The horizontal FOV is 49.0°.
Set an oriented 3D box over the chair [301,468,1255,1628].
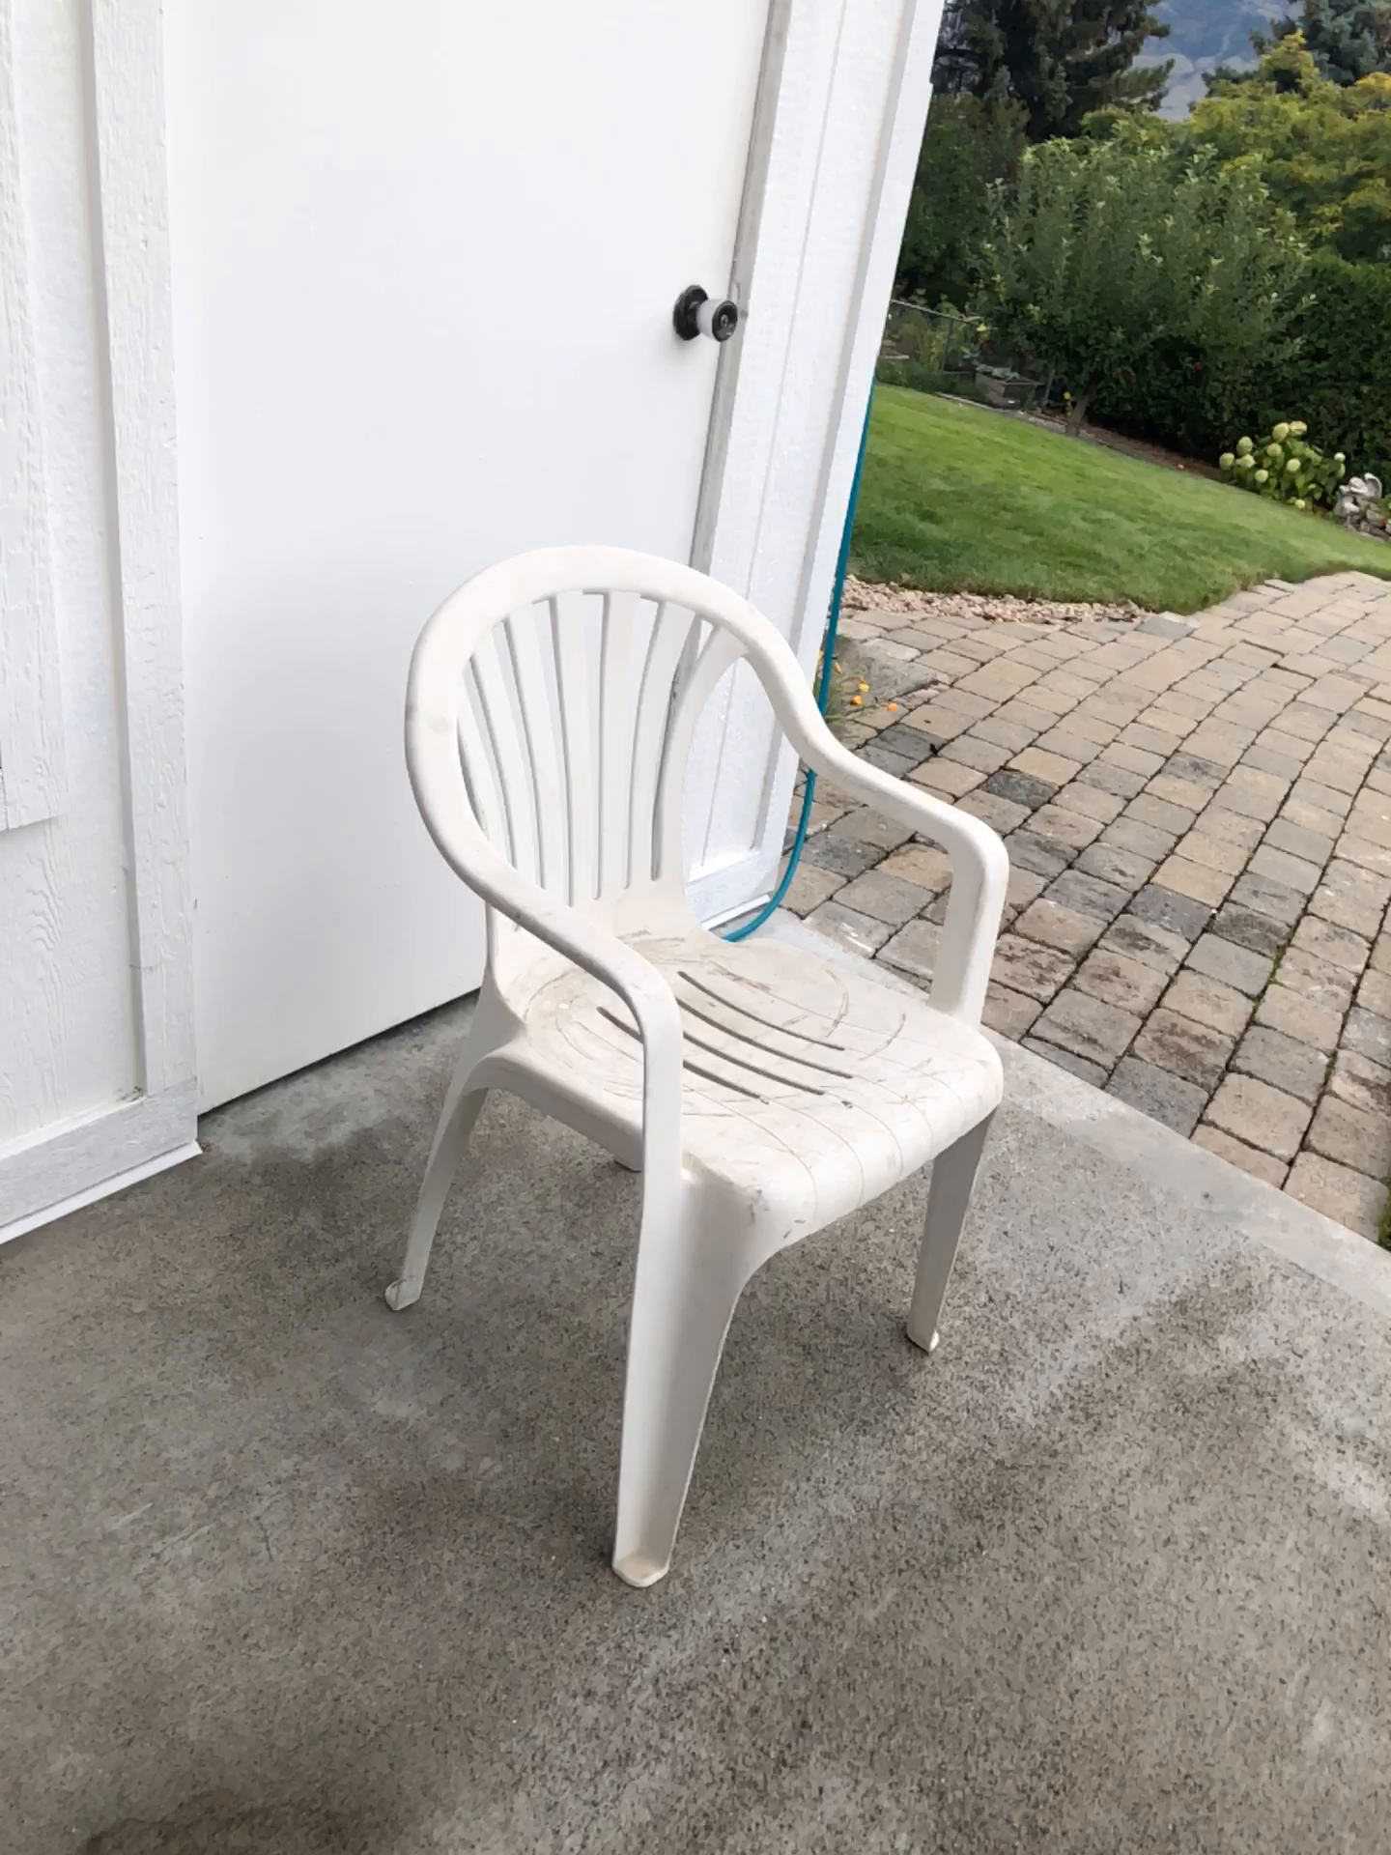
[{"bbox_3d":[0.040,0.058,1.430,0.511,0.777,0.602,30,36,31],"label":"chair"}]
